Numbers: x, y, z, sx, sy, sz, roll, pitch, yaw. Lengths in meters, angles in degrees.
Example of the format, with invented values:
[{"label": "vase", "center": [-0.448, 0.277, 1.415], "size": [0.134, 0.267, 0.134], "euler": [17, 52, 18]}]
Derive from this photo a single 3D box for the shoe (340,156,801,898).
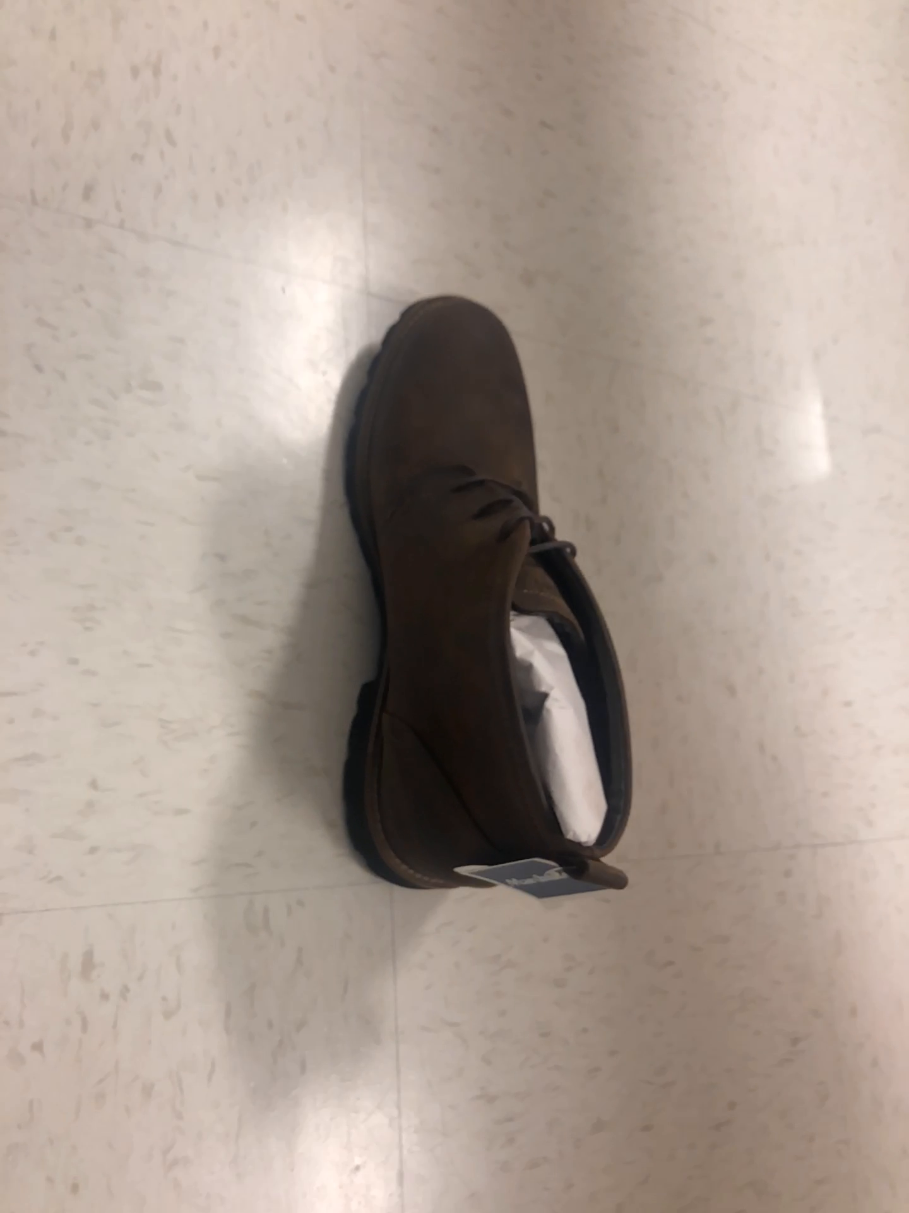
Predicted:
[{"label": "shoe", "center": [0.041, -0.016, 0.464], "size": [0.116, 0.167, 0.283], "euler": [9, 73, -31]}]
